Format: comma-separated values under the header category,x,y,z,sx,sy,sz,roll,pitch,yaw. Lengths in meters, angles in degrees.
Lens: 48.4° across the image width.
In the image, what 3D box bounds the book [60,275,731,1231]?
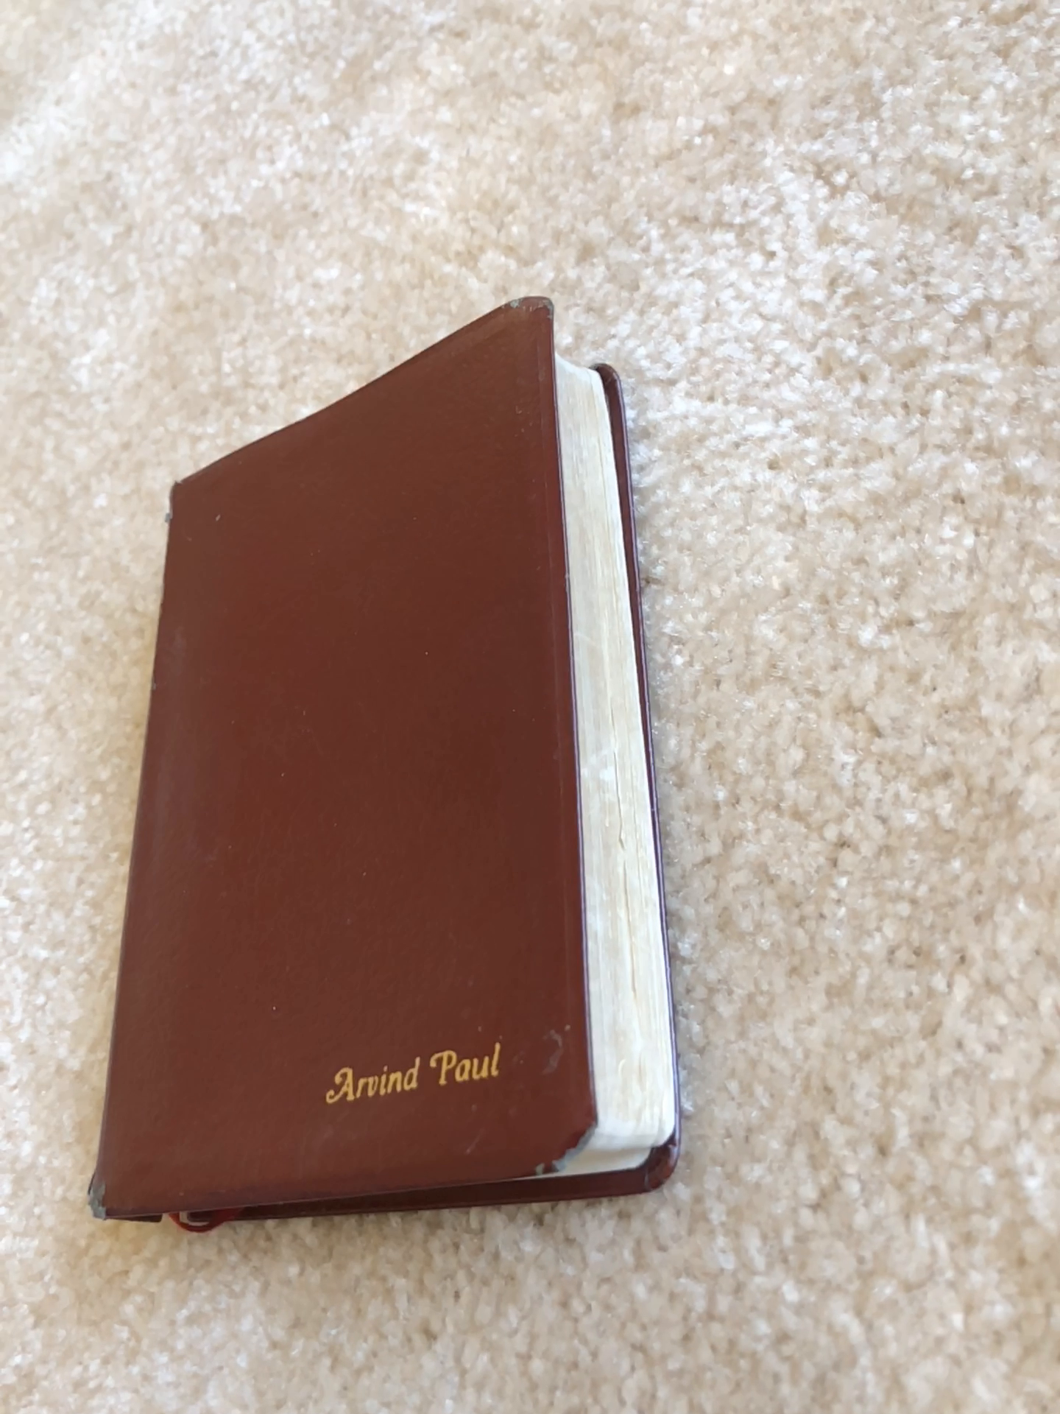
category,x,y,z,sx,sy,sz,roll,pitch,yaw
book,-0.029,0.012,0.228,0.110,0.040,0.157,-19,60,30
